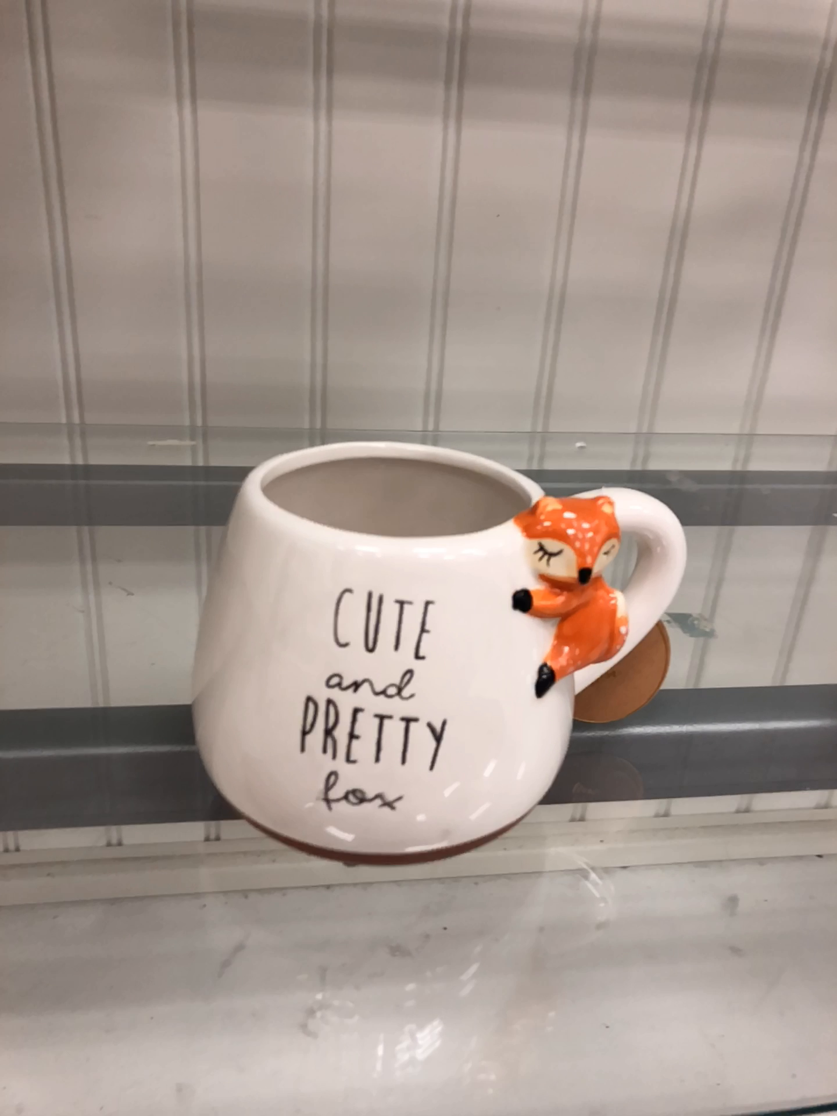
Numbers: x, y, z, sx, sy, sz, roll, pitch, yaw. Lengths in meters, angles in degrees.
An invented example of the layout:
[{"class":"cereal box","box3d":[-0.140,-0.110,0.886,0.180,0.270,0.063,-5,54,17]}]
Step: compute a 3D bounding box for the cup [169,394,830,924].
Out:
[{"class":"cup","box3d":[0.013,0.014,0.259,0.143,0.089,0.101,-6,26,-21]}]
